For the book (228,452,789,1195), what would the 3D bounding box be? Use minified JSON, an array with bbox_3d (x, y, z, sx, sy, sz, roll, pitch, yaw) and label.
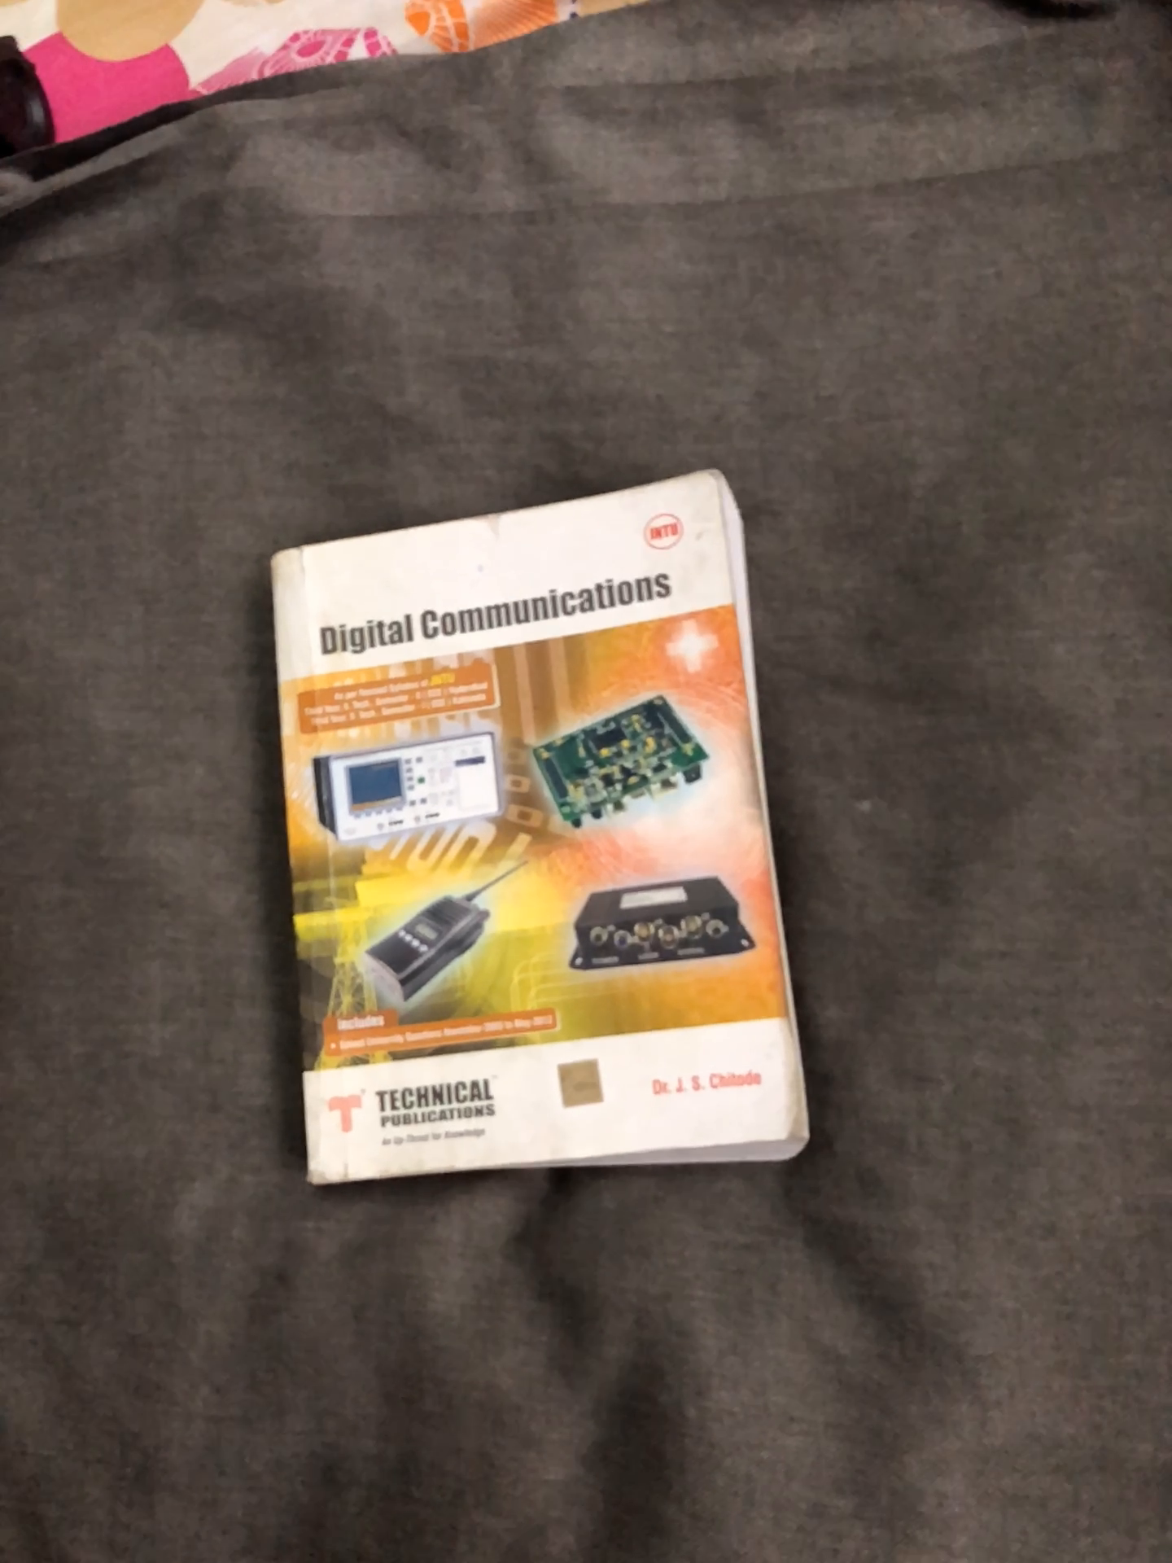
[{"bbox_3d":[-0.032,0.018,0.481,0.181,0.050,0.241,-7,80,13],"label":"book"}]
